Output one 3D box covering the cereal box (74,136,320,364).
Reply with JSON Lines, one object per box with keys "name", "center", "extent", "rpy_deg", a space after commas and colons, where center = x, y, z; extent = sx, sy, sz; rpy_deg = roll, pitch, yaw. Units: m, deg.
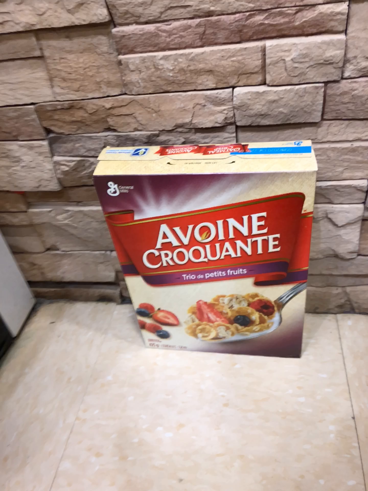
{"name": "cereal box", "center": [0.025, 0.019, 0.425], "extent": [0.200, 0.248, 0.060], "rpy_deg": [1, 40, 12]}
